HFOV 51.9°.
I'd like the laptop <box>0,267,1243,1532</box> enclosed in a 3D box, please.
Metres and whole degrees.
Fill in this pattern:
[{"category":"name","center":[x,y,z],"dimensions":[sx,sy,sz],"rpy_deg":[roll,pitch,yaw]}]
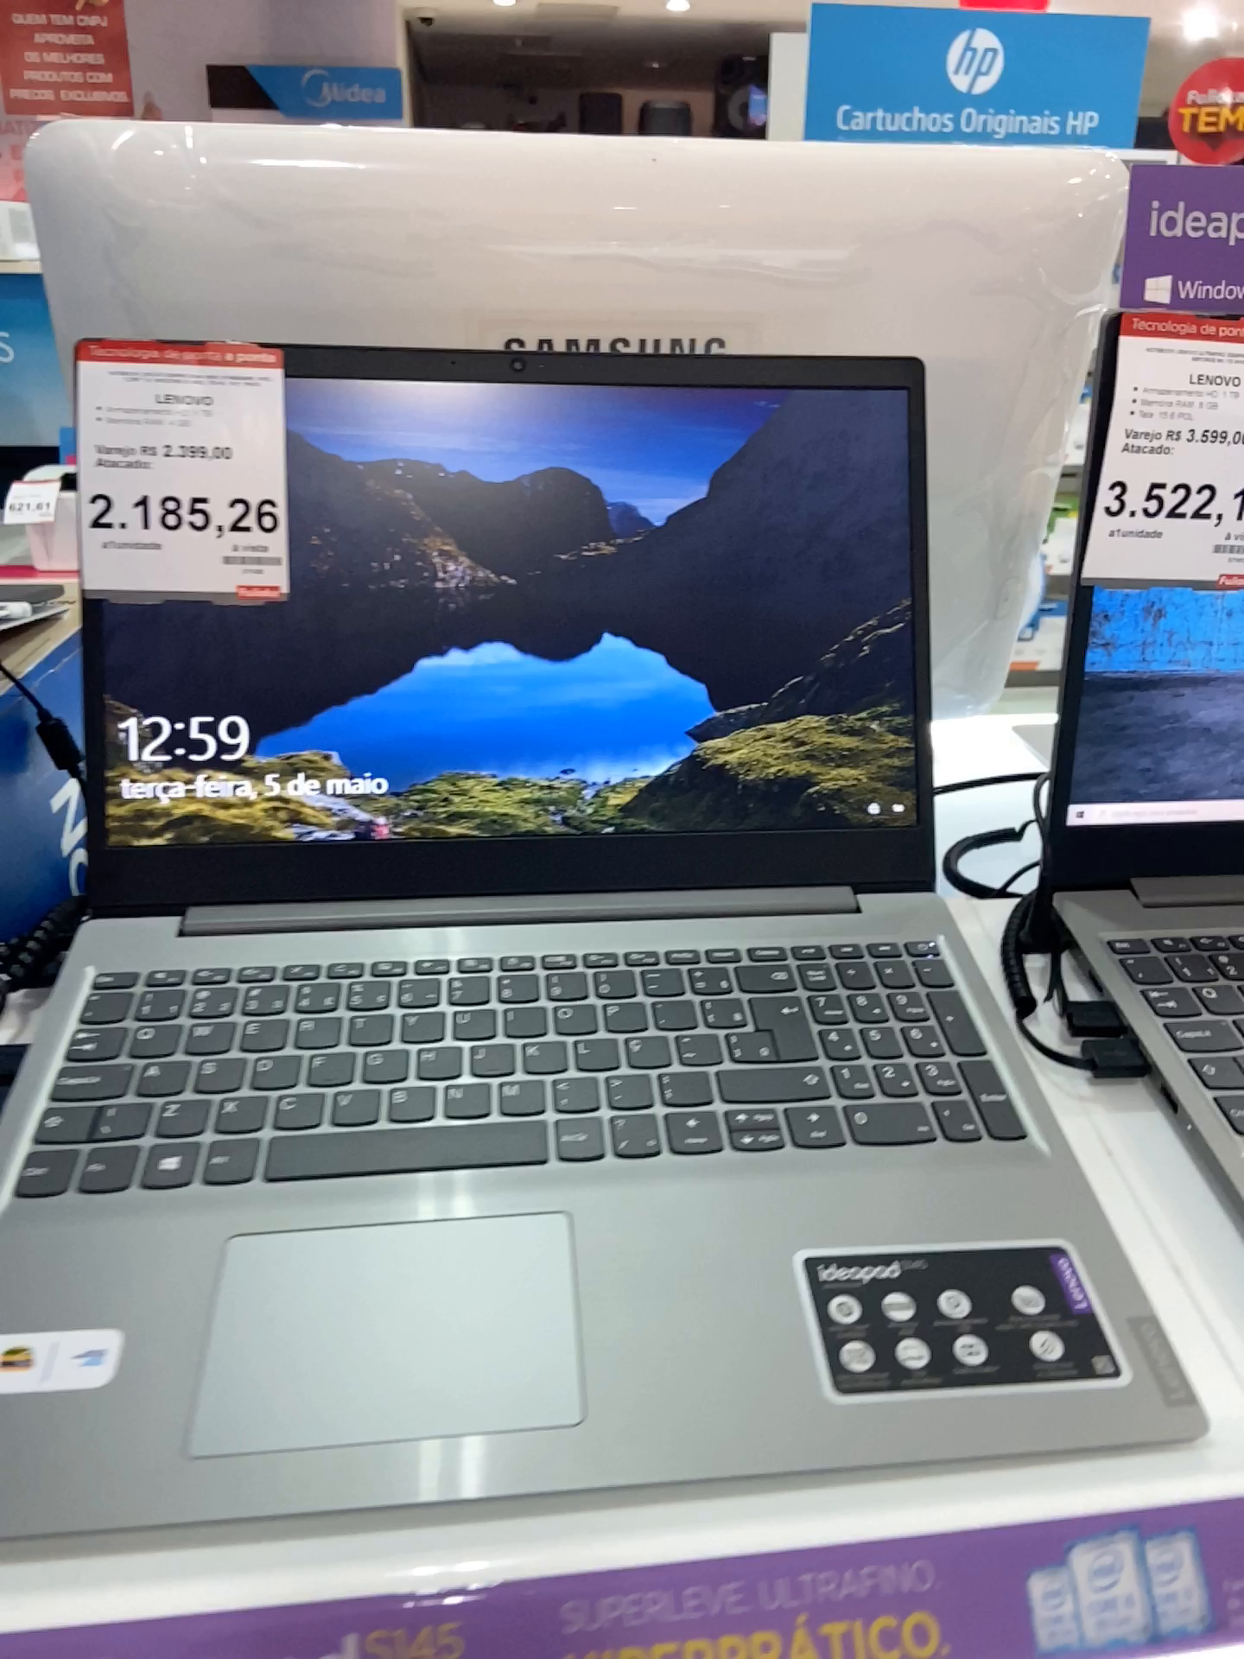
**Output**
[{"category":"laptop","center":[-0.036,-0.039,0.452],"dimensions":[0.358,0.212,0.390],"rpy_deg":[-1,31,-6]}]
